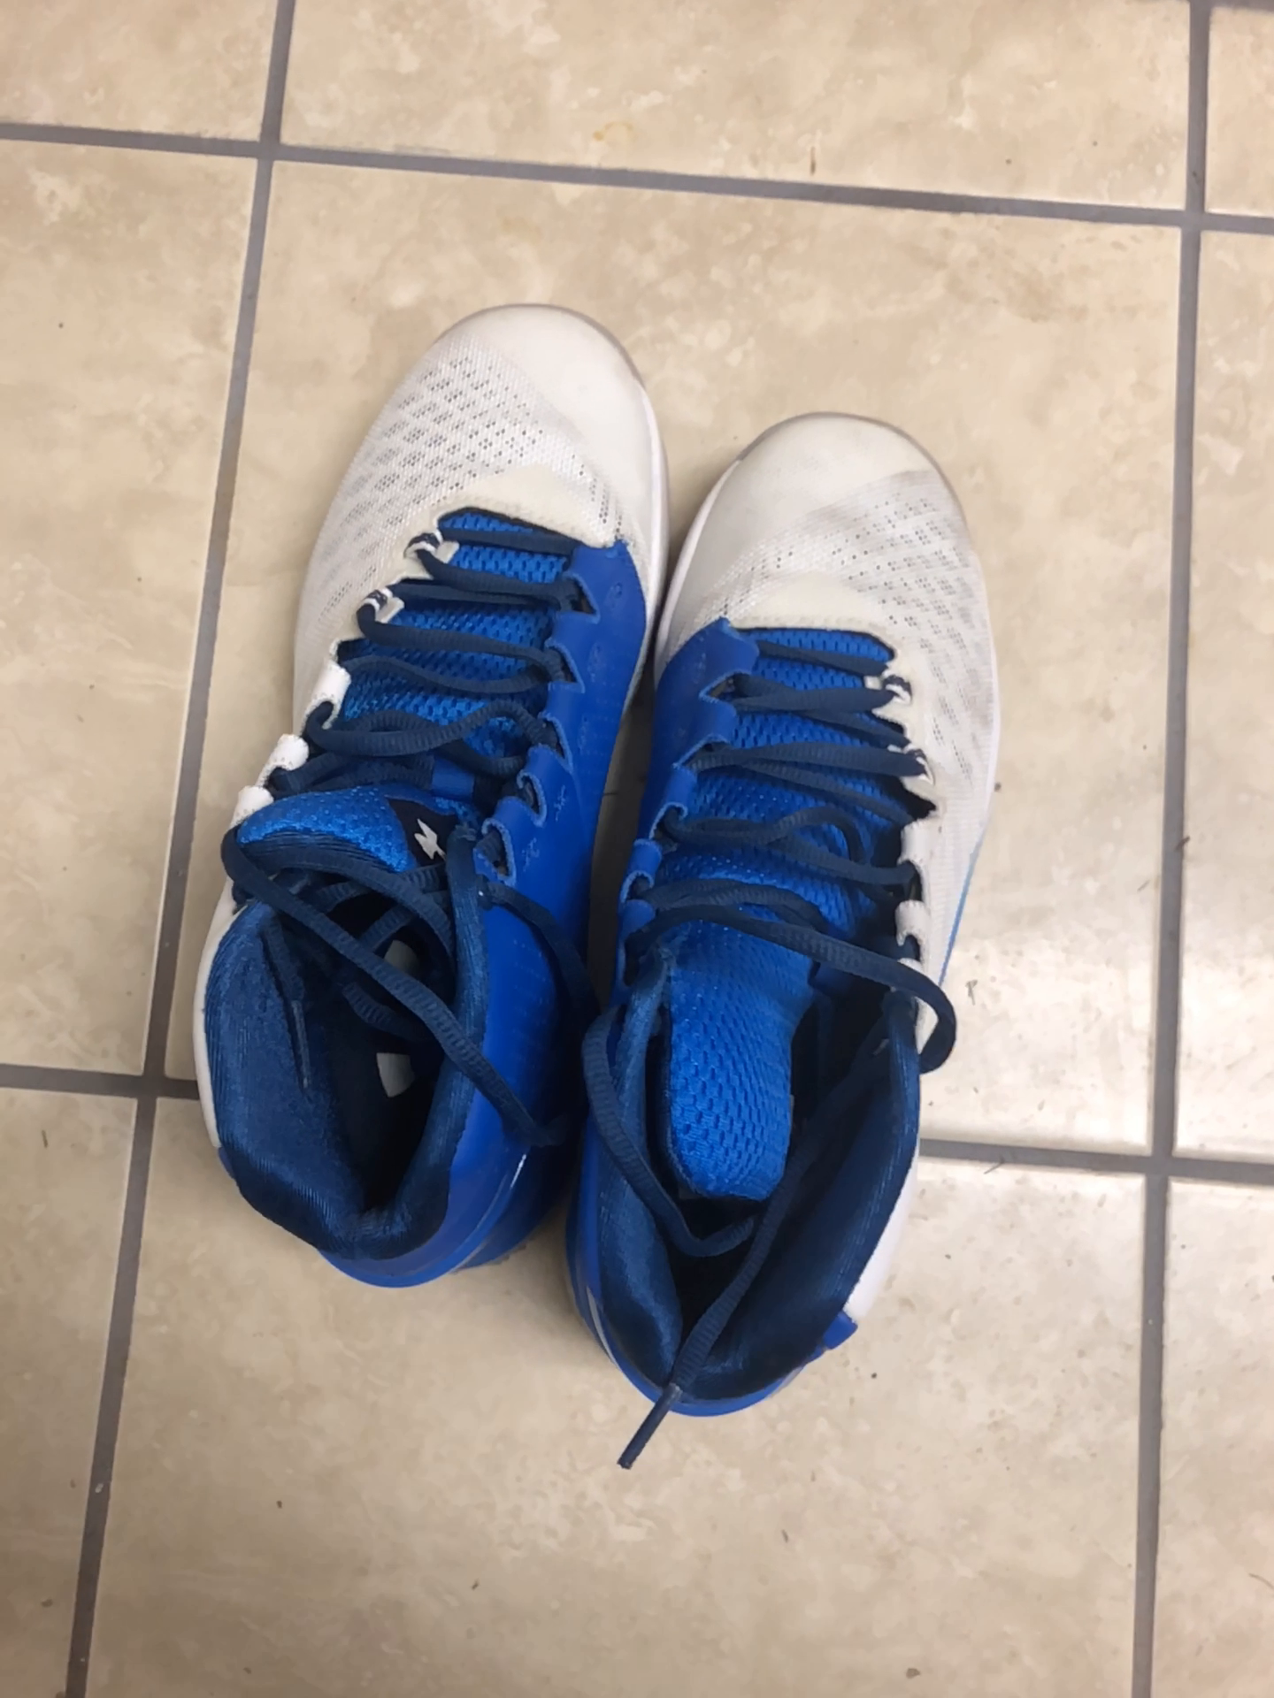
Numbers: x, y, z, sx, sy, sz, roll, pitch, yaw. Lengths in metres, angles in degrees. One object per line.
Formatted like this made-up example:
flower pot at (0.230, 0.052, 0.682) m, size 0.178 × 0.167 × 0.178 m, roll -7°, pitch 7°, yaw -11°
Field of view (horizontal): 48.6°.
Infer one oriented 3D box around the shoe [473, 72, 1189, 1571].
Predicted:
shoe at (0.049, -0.011, 0.374) m, size 0.120 × 0.130 × 0.322 m, roll 8°, pitch 80°, yaw 1°

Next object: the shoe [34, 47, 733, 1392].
shoe at (-0.055, -0.034, 0.381) m, size 0.120 × 0.100 × 0.310 m, roll 7°, pitch 83°, yaw 1°
